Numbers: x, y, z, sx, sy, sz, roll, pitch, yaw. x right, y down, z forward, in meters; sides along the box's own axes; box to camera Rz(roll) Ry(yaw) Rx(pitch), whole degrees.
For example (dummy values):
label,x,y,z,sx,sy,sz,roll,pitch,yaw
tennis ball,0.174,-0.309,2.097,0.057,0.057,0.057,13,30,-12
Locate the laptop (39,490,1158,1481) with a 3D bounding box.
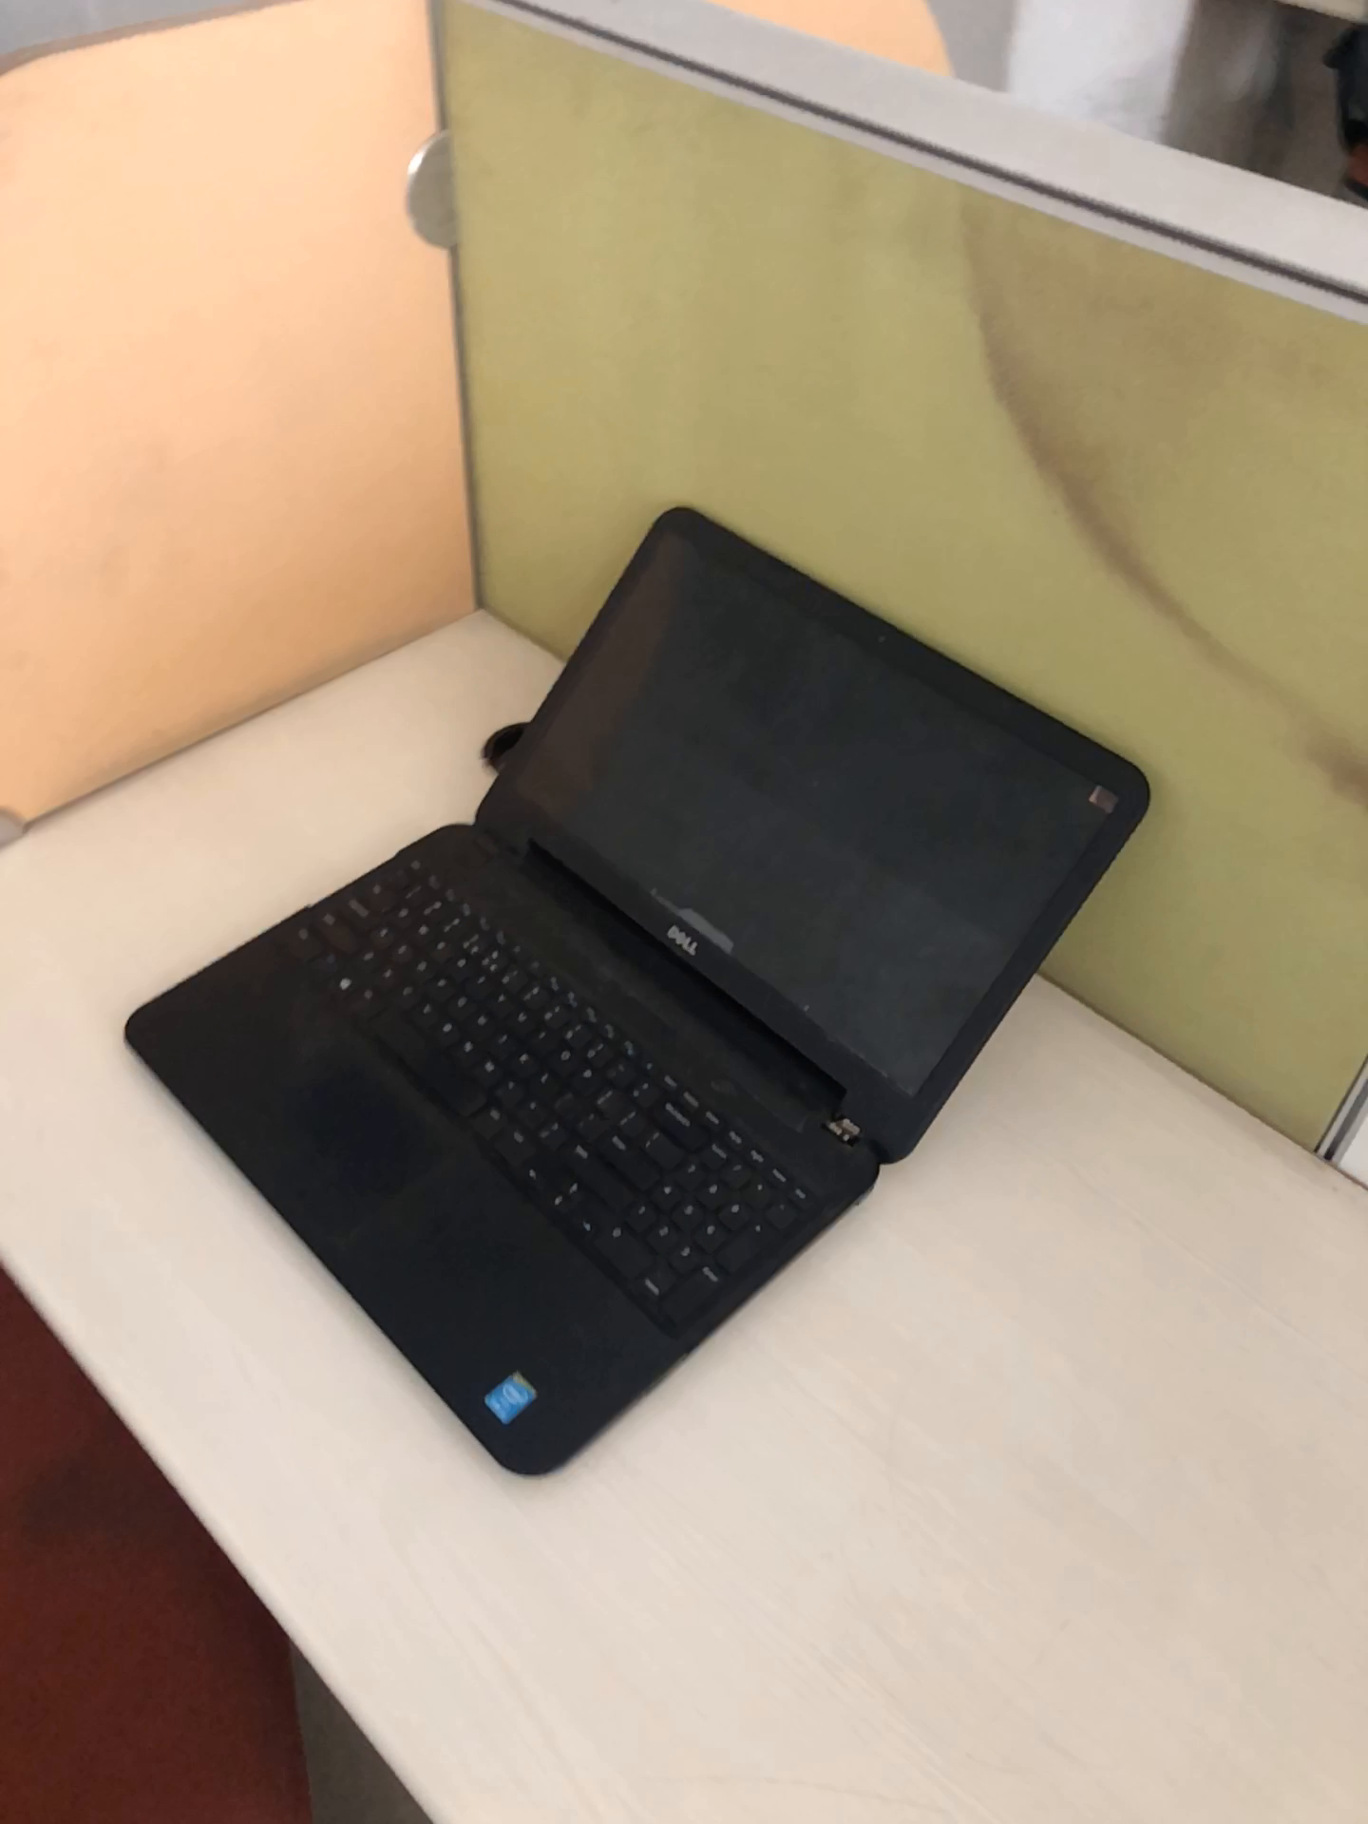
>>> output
label,x,y,z,sx,sy,sz,roll,pitch,yaw
laptop,-0.038,-0.004,0.804,0.428,0.158,0.356,-35,57,-29
